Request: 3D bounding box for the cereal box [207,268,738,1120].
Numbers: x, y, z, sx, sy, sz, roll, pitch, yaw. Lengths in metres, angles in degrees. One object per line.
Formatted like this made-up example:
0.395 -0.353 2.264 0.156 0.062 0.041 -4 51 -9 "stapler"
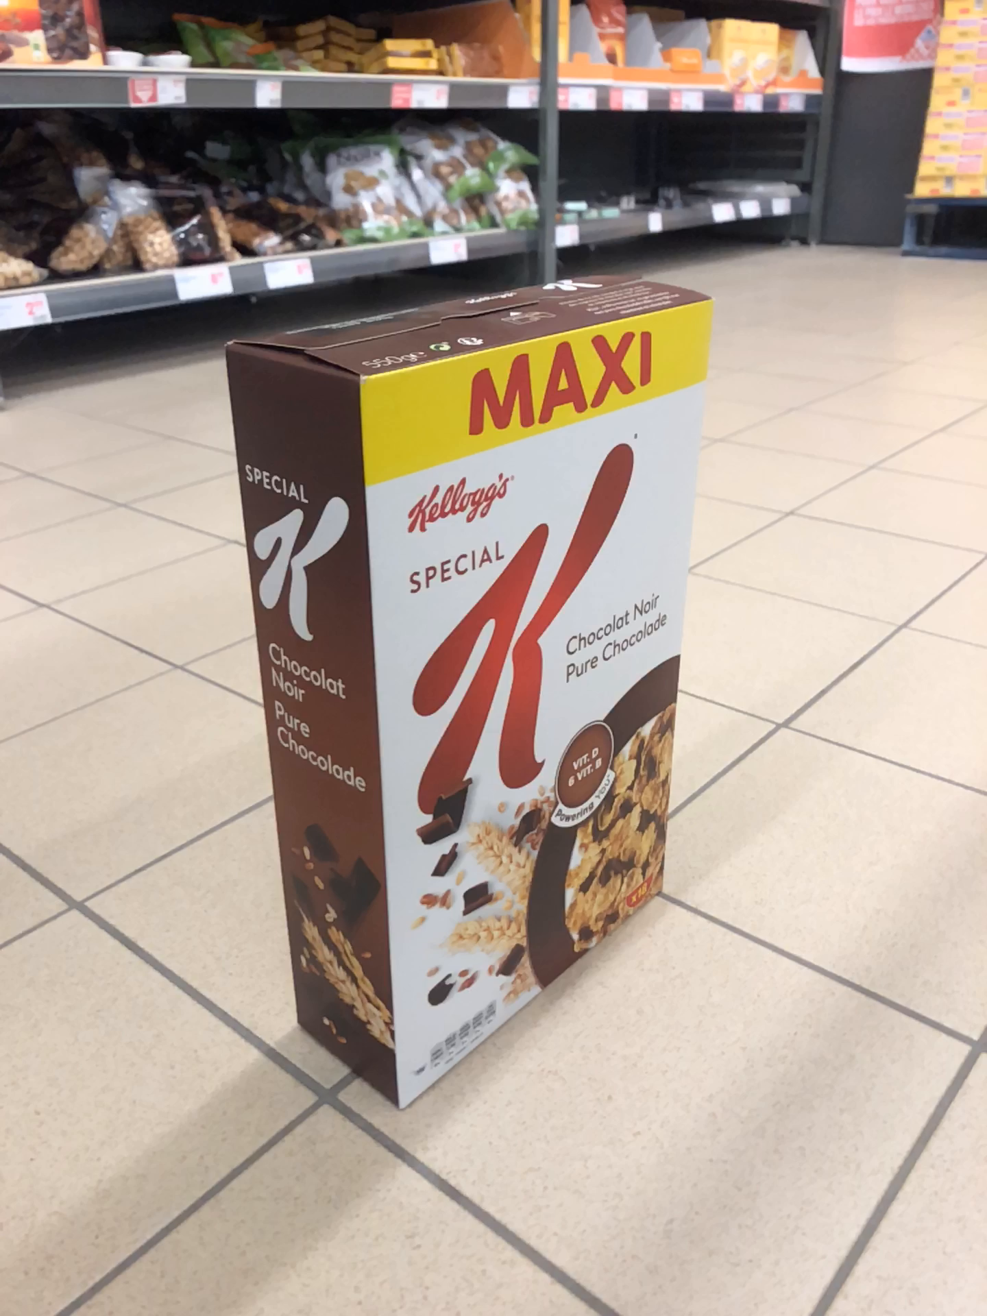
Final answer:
0.004 0.005 0.461 0.070 0.298 0.211 21 33 36 "cereal box"
